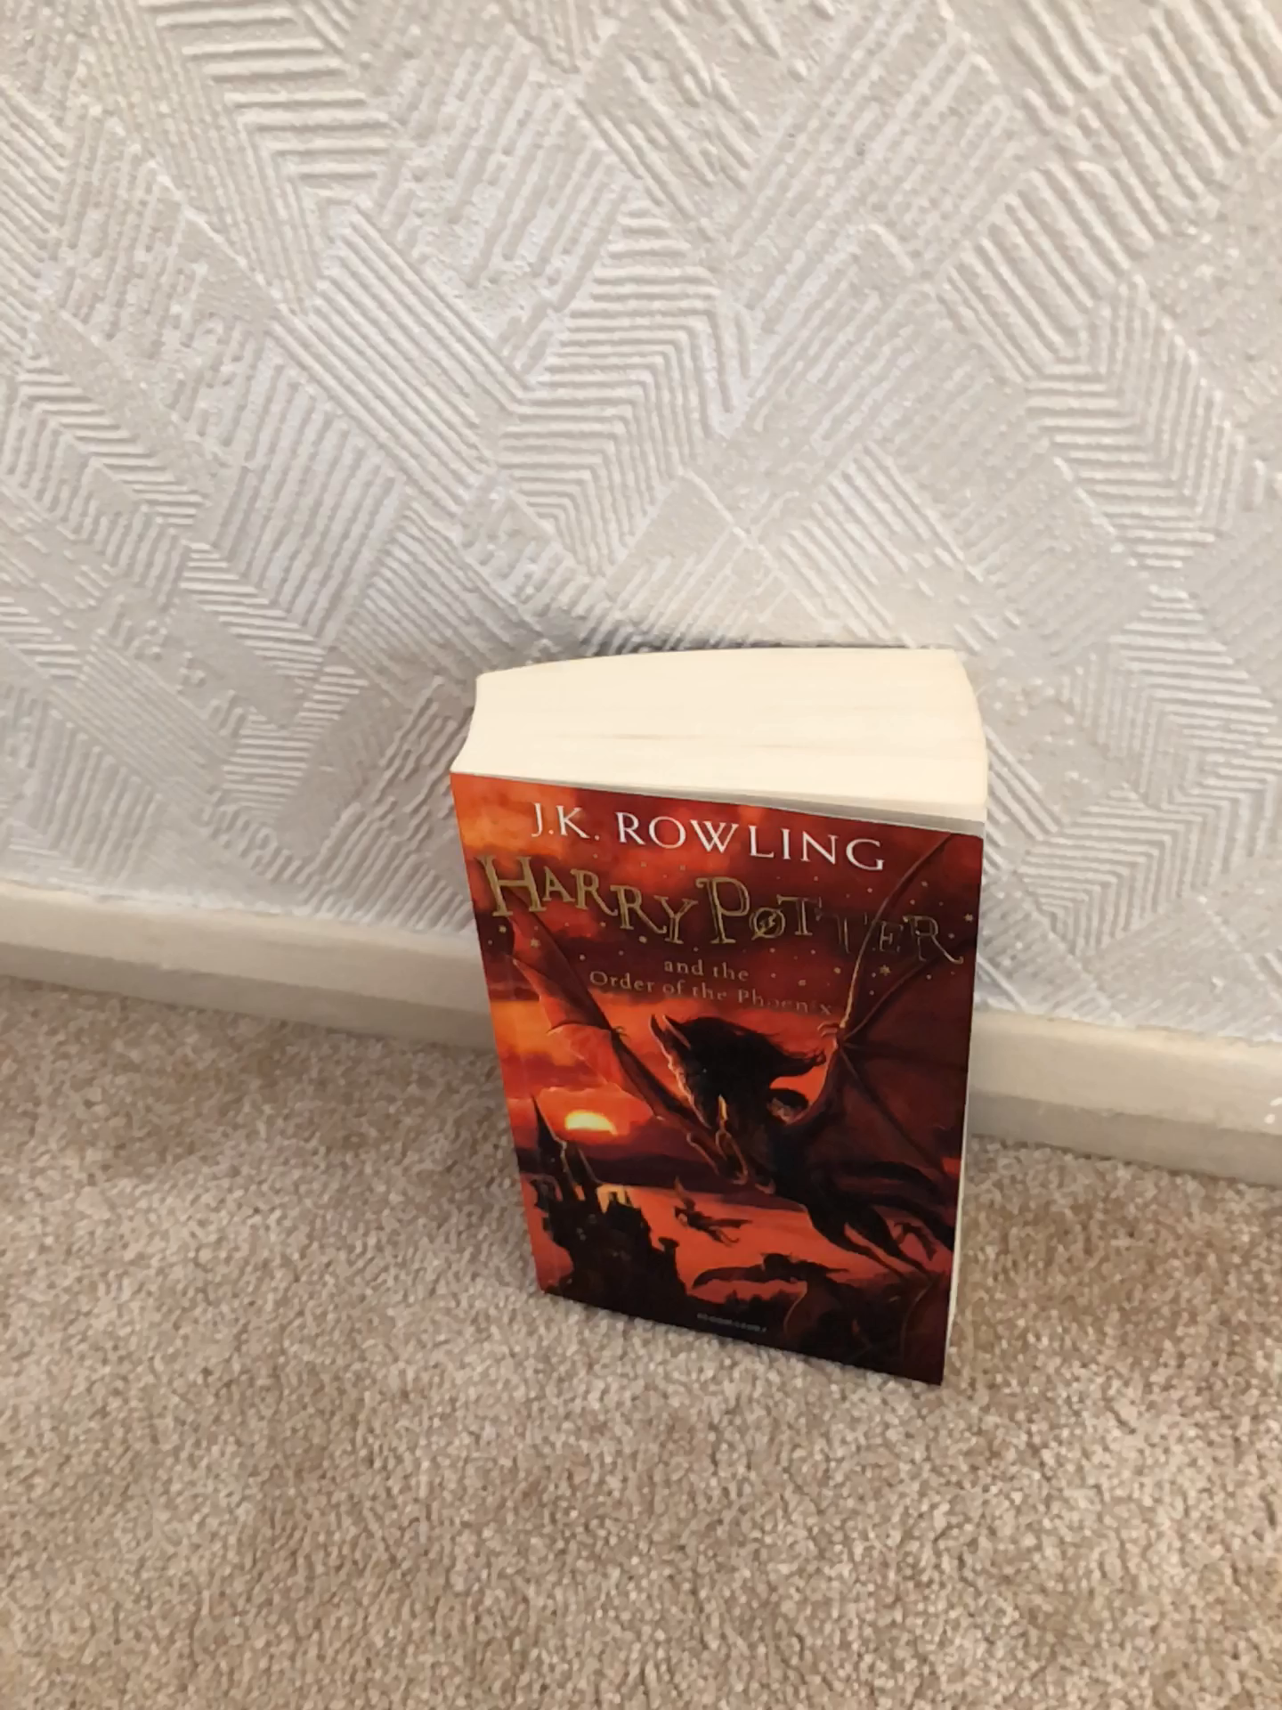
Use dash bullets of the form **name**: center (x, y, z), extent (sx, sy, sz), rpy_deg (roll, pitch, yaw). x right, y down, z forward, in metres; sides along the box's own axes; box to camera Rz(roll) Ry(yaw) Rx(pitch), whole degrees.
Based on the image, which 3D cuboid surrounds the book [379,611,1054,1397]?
- **book**: center (0.029, 0.042, 0.409), extent (0.147, 0.189, 0.092), rpy_deg (8, 38, 18)
